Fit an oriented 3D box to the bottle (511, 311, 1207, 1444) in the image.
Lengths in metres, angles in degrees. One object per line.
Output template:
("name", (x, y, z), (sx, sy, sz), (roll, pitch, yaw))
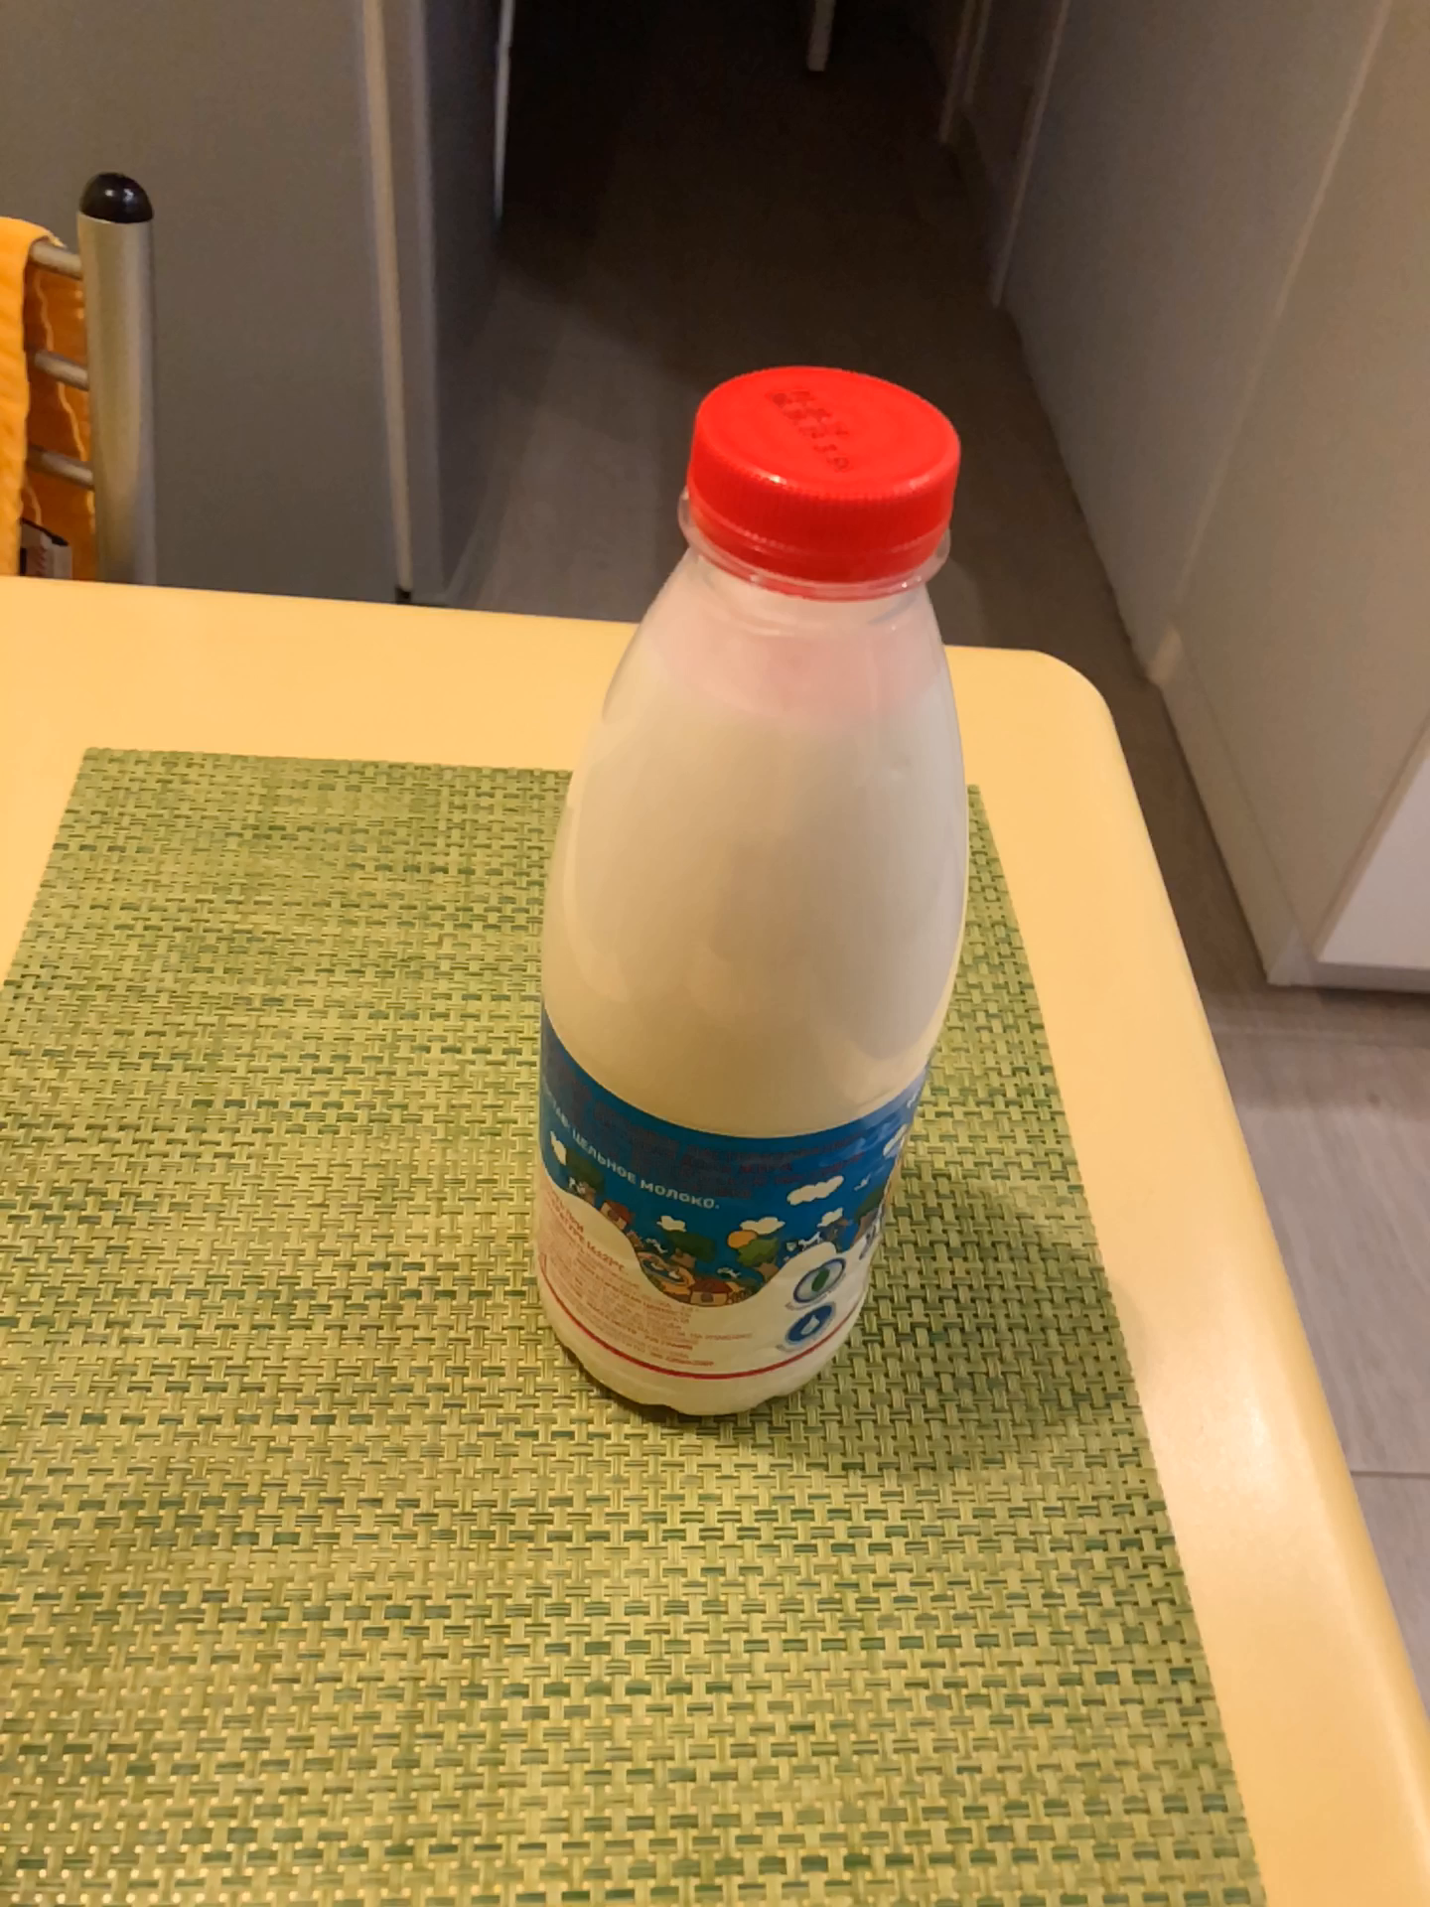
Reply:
("bottle", (0.007, 0.001, 0.316), (0.090, 0.218, 0.091), (4, 44, -4))
